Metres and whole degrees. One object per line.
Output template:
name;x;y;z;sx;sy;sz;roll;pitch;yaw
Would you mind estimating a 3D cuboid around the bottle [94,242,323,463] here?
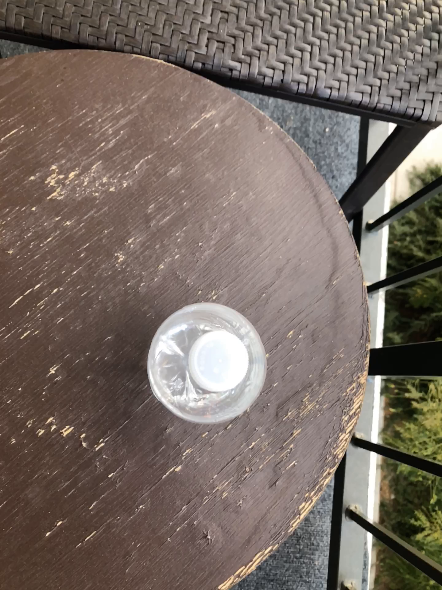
bottle;-0.017;0.037;0.296;0.080;0.190;0.074;1;80;-7
